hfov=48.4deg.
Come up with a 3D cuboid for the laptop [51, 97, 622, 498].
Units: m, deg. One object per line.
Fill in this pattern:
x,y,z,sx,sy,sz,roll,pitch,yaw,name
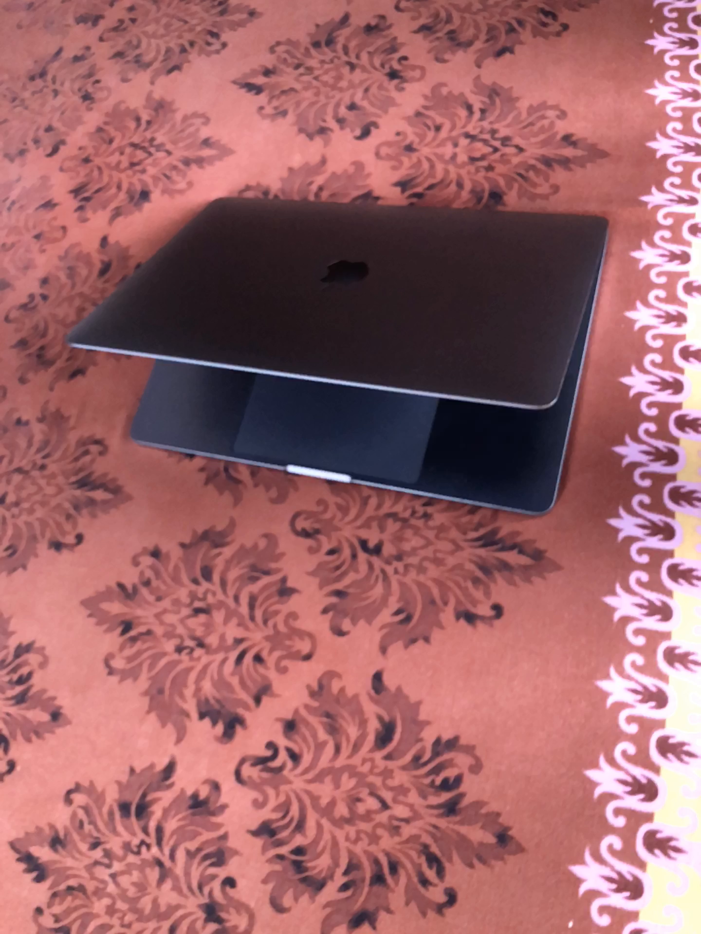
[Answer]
-0.003,-0.115,0.483,0.286,0.093,0.204,11,71,21,laptop
